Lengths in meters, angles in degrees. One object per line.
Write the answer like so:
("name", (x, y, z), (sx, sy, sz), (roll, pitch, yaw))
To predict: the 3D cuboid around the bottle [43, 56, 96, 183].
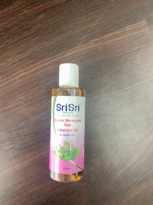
("bottle", (-0.008, 0.018, 0.186), (0.050, 0.040, 0.130), (2, 88, -4))
